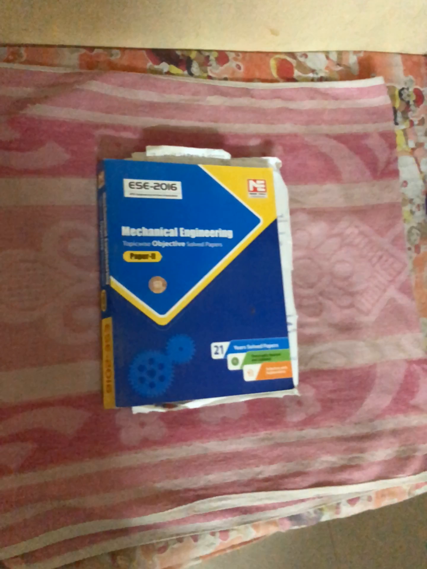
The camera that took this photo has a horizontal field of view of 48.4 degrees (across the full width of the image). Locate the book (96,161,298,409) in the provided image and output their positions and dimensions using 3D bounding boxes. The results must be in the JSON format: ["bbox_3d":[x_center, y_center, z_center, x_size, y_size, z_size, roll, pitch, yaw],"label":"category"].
[{"bbox_3d":[-0.023,-0.003,0.567,0.215,0.055,0.270,-2,80,-17],"label":"book"}]
